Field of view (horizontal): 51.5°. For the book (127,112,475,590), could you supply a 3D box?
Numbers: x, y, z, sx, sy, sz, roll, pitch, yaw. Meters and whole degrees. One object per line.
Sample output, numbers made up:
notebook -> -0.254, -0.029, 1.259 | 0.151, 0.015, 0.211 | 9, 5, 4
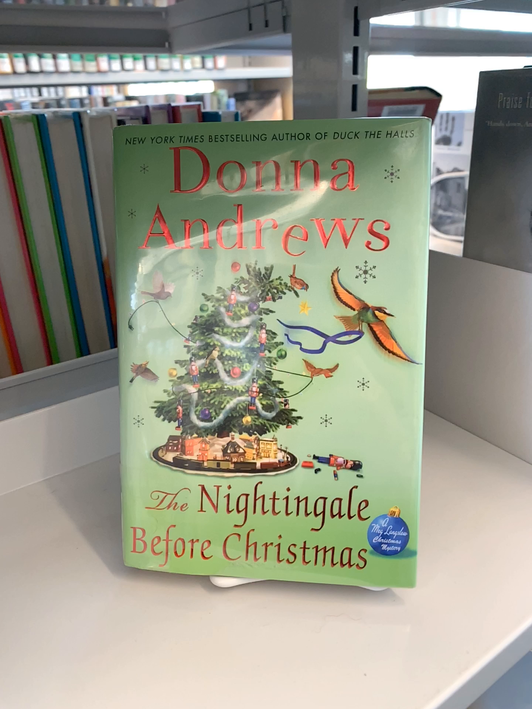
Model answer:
book -> 0.013, -0.002, 0.259 | 0.145, 0.200, 0.040 | 2, 6, 8
